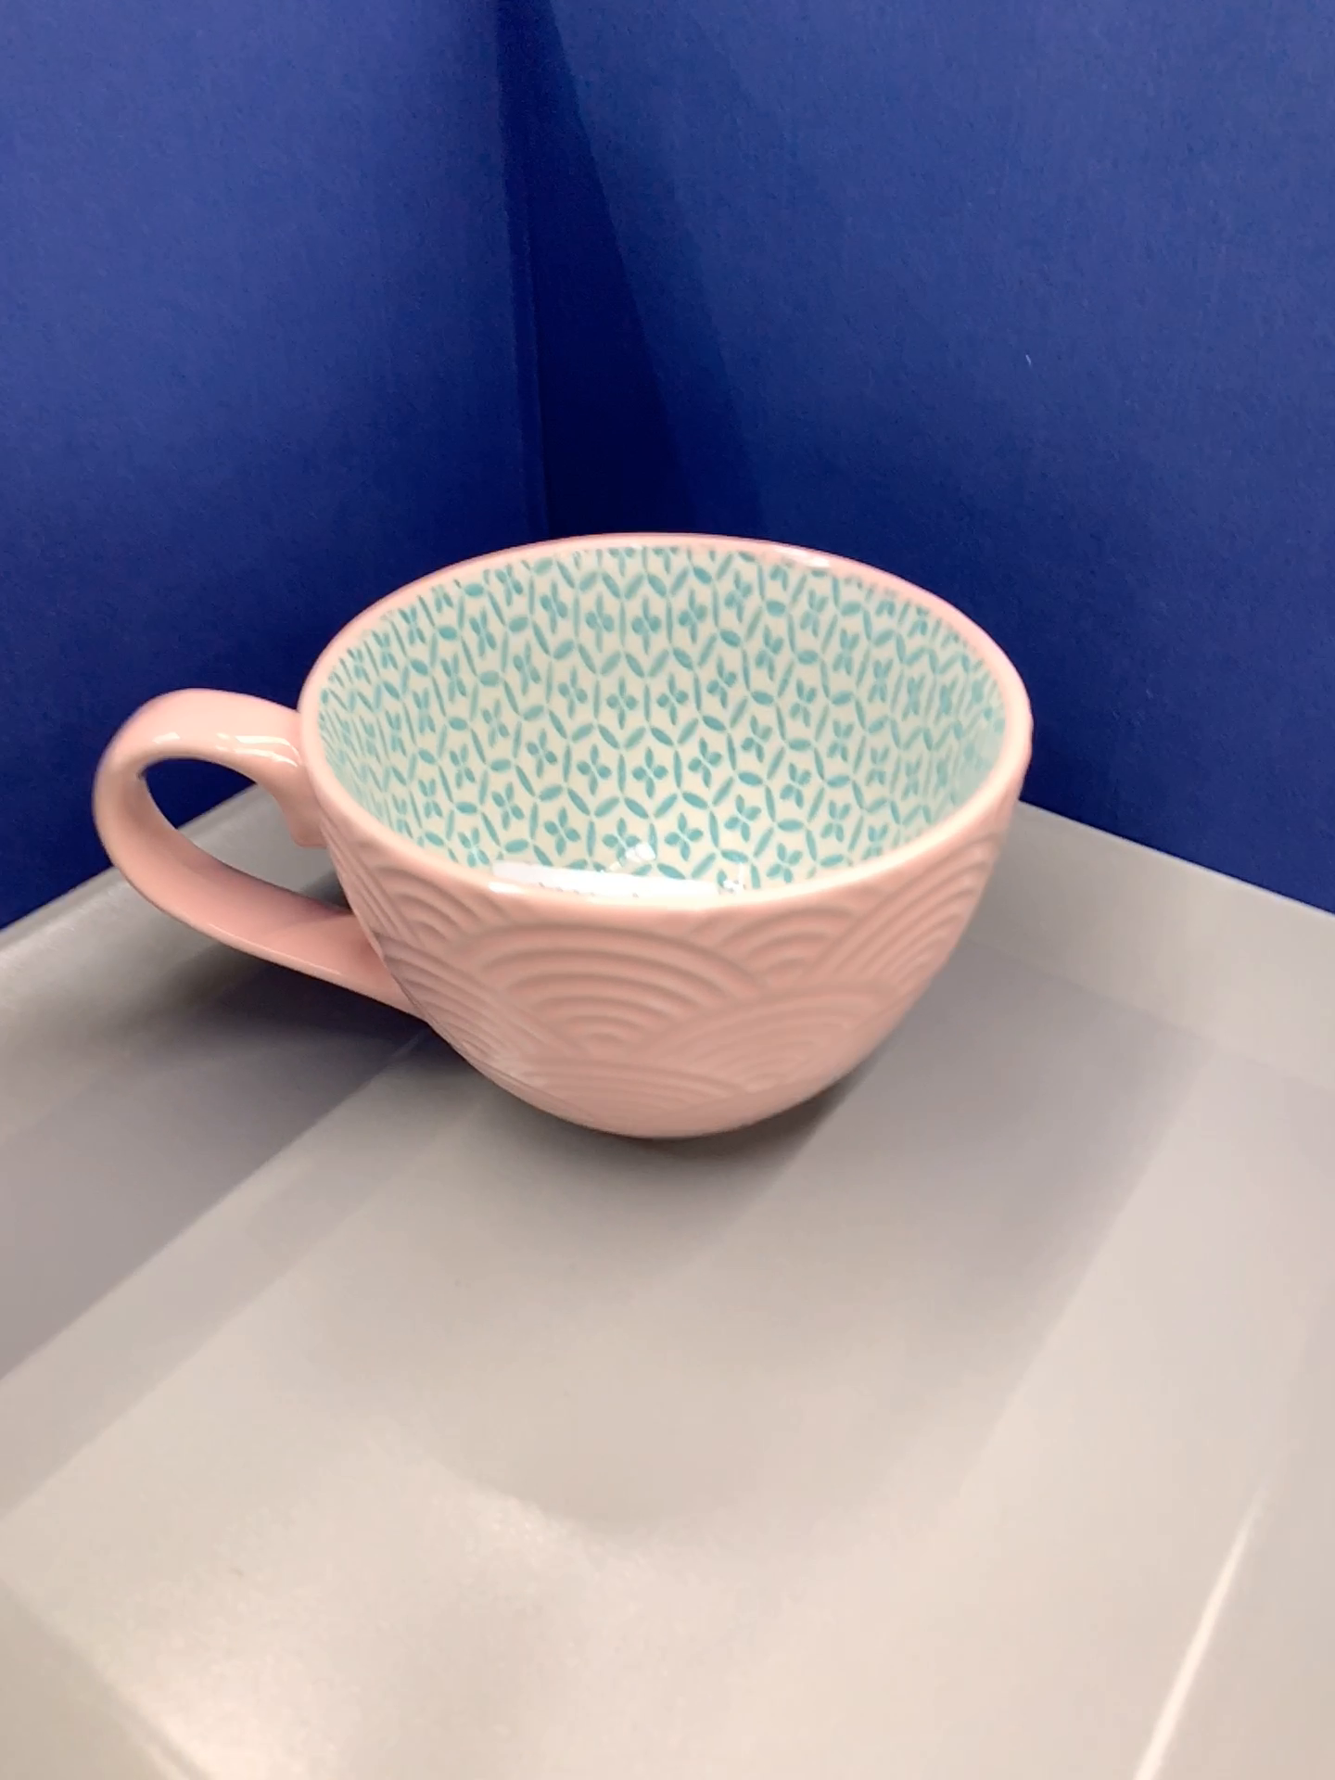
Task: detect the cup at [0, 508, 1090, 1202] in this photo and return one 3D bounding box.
[{"bbox_3d":[-0.017,-0.011,0.244,0.150,0.064,0.105,2,45,2],"label":"cup"}]
